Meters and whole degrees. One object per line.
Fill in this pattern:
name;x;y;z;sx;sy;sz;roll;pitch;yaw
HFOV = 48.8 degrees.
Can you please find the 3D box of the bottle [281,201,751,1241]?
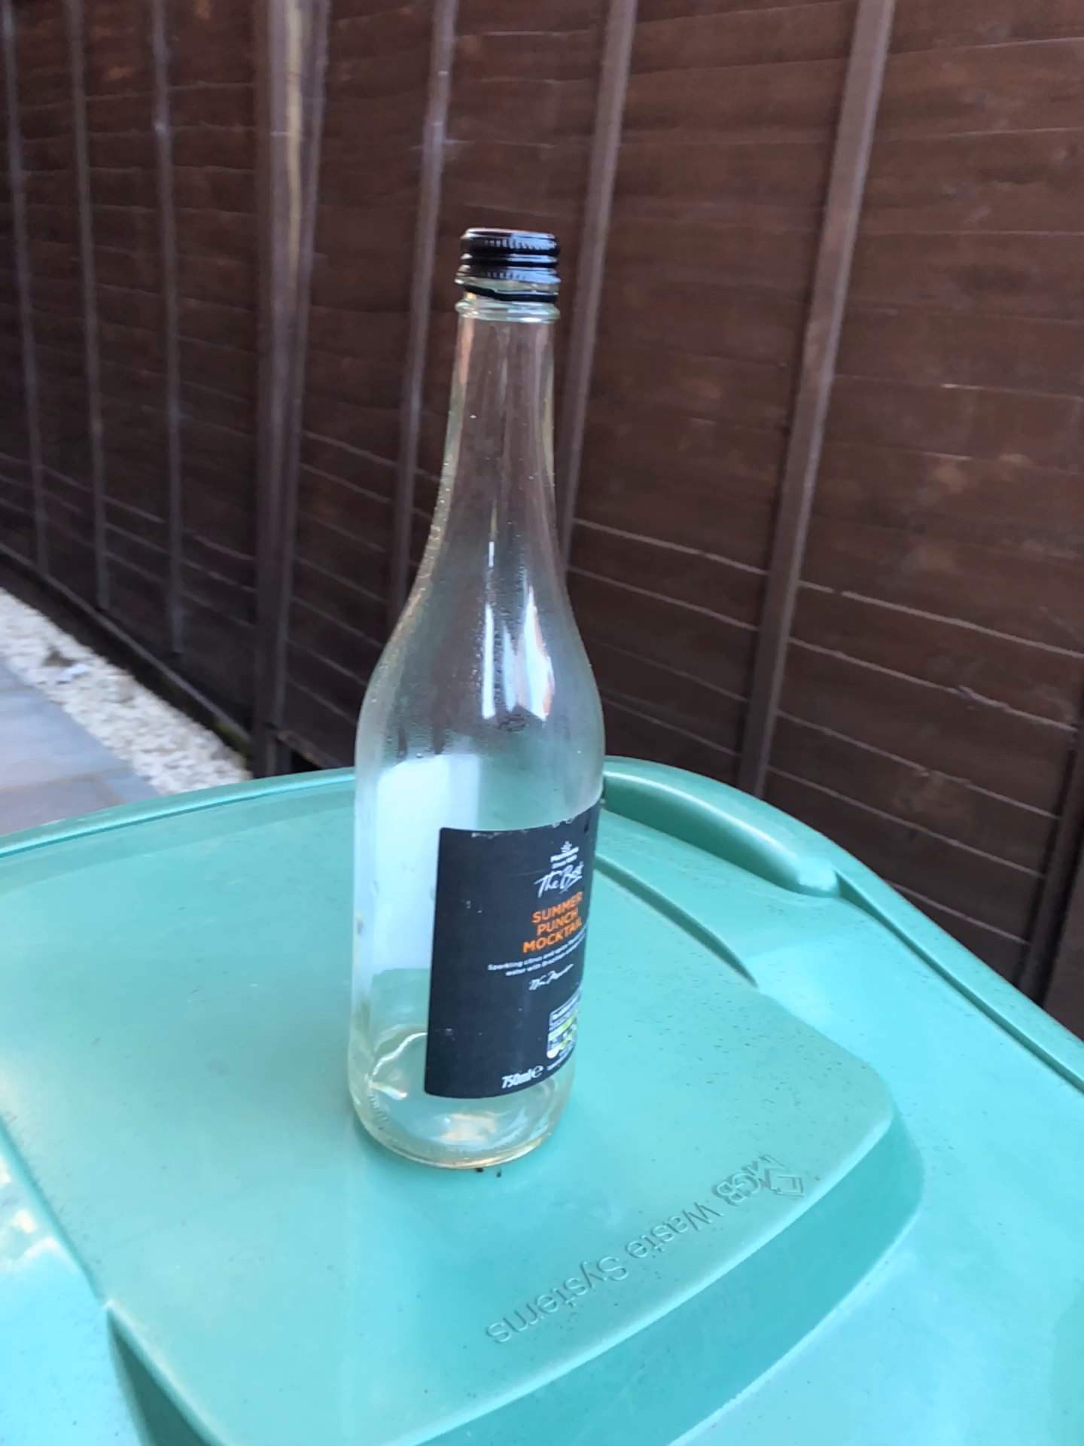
bottle;-0.016;0.001;0.370;0.080;0.288;0.090;23;26;38
